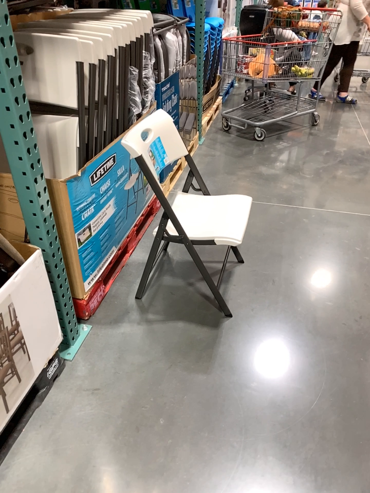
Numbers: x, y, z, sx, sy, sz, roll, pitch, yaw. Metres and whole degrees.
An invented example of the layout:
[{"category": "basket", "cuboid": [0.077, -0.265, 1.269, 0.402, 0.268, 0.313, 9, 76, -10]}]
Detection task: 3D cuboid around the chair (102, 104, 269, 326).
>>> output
[{"category": "chair", "cuboid": [0.038, -0.165, 1.776, 0.574, 0.806, 0.568, 8, 35, 11]}]
